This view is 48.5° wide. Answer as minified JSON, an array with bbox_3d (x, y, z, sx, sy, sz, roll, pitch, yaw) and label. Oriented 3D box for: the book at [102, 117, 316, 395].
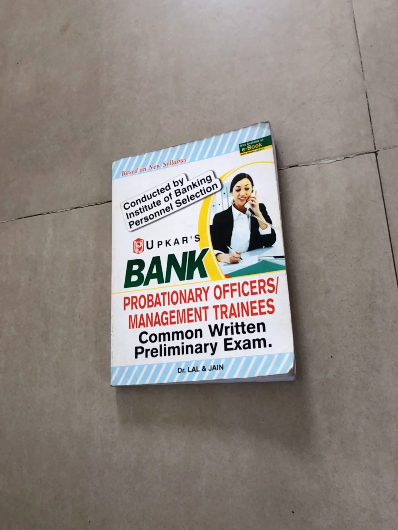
[{"bbox_3d":[0.001,-0.003,0.406,0.180,0.040,0.230,-7,76,18],"label":"book"}]
